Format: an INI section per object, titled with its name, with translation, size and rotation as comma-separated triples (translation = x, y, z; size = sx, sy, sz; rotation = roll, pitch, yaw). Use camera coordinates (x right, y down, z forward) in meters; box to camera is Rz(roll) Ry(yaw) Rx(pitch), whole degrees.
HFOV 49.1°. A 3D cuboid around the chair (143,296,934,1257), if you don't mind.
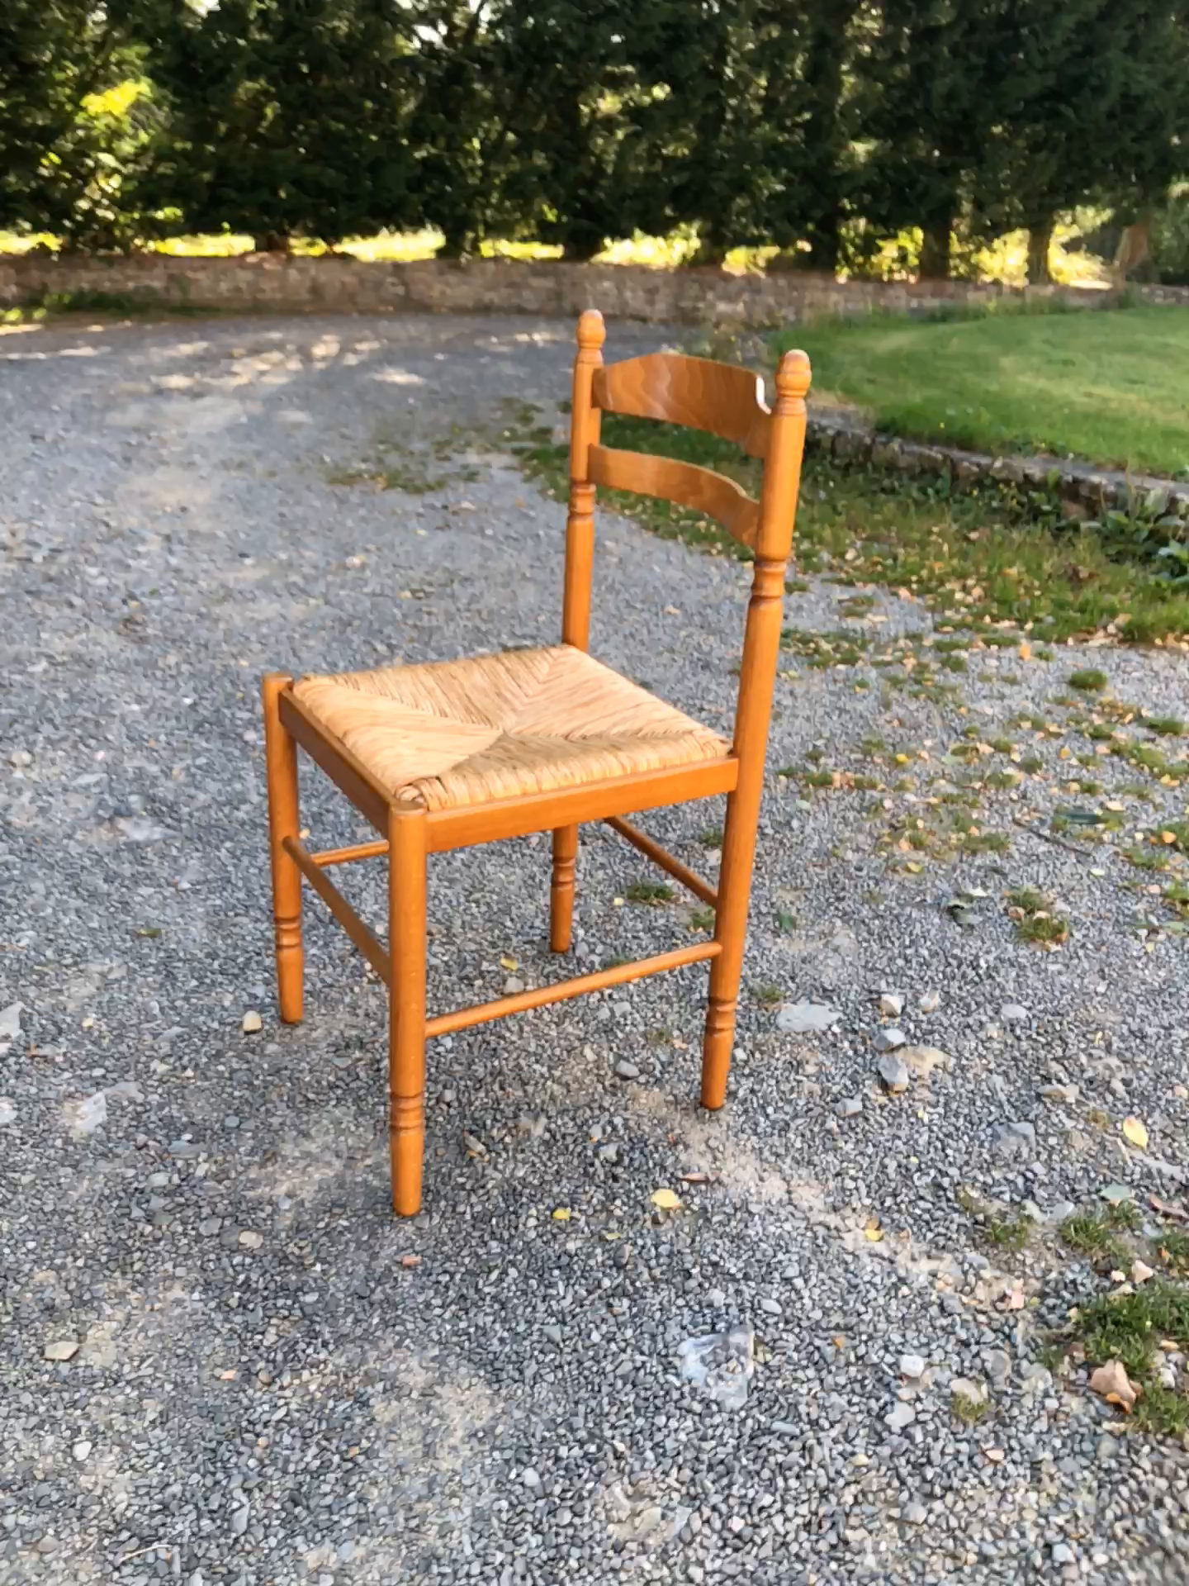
[chair]
translation = -0.079, -0.073, 1.316
size = 0.522, 0.736, 0.511
rotation = -14, 30, -28
